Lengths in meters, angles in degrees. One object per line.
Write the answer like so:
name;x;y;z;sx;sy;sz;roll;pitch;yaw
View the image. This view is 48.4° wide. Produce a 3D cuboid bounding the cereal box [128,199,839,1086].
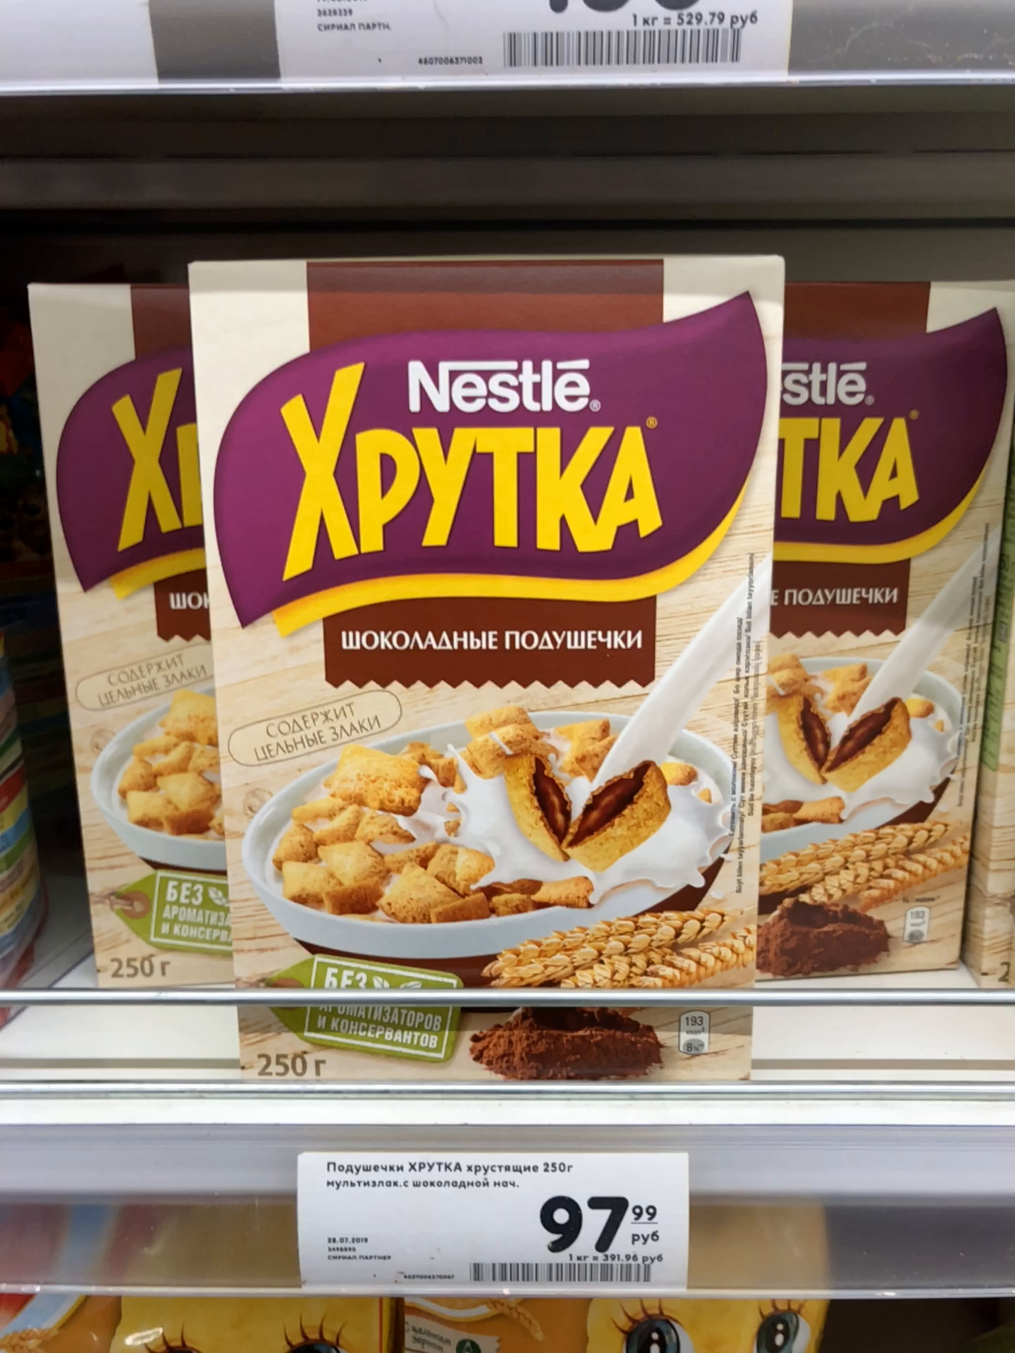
cereal box;-0.005;-0.004;0.296;0.160;0.219;0.040;0;12;1
